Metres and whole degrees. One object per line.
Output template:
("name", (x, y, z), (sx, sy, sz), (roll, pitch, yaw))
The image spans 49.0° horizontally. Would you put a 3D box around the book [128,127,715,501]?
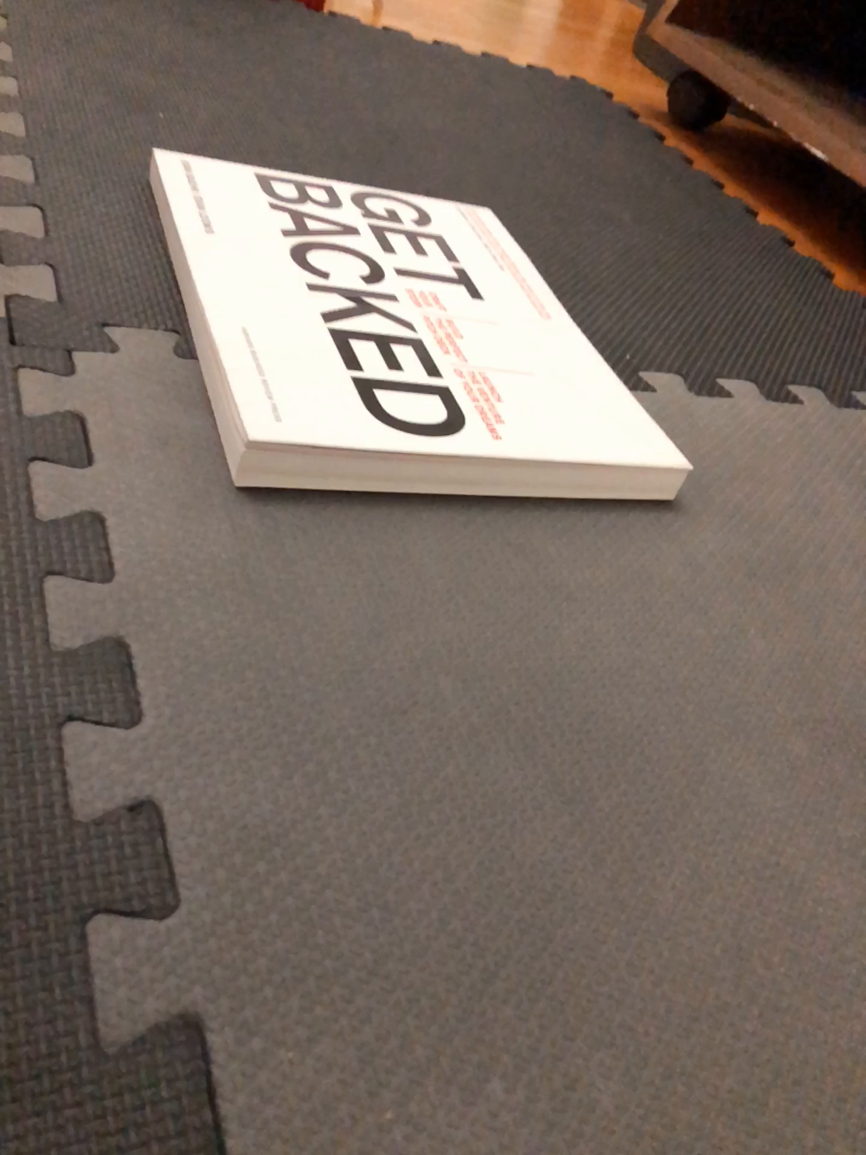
("book", (-0.019, -0.130, 0.446), (0.210, 0.020, 0.261), (-1, 45, -25))
